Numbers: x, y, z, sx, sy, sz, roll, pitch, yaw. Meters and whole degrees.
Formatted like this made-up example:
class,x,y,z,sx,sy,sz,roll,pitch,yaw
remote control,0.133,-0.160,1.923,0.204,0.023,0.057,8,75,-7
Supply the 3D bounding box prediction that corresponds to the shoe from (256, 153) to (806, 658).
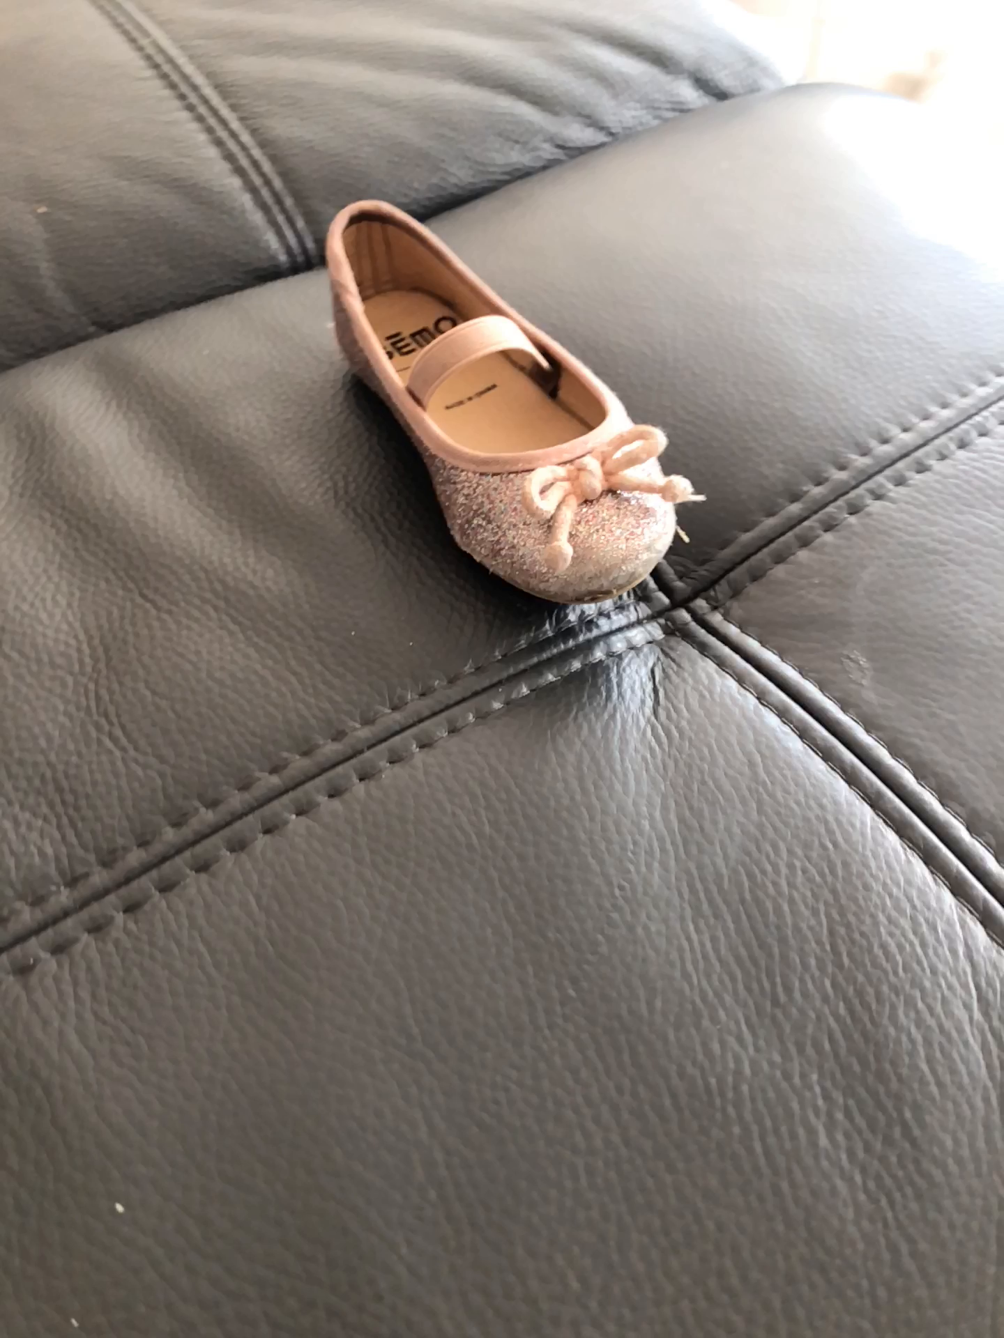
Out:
class,x,y,z,sx,sy,sz,roll,pitch,yaw
shoe,0.001,-0.084,0.321,0.070,0.040,0.160,-29,60,-21
